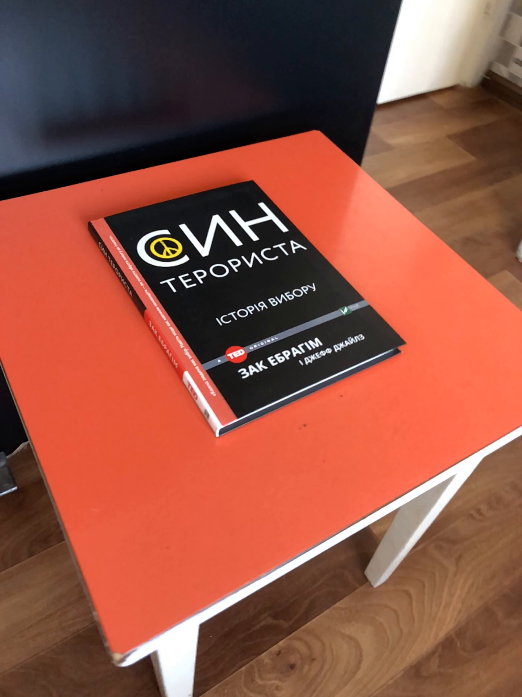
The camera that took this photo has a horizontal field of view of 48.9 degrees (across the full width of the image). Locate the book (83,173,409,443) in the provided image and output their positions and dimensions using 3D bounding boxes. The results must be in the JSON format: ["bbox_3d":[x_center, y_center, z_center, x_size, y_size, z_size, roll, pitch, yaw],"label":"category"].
[{"bbox_3d":[-0.017,-0.045,0.391,0.140,0.016,0.198,-21,56,-23],"label":"book"}]
